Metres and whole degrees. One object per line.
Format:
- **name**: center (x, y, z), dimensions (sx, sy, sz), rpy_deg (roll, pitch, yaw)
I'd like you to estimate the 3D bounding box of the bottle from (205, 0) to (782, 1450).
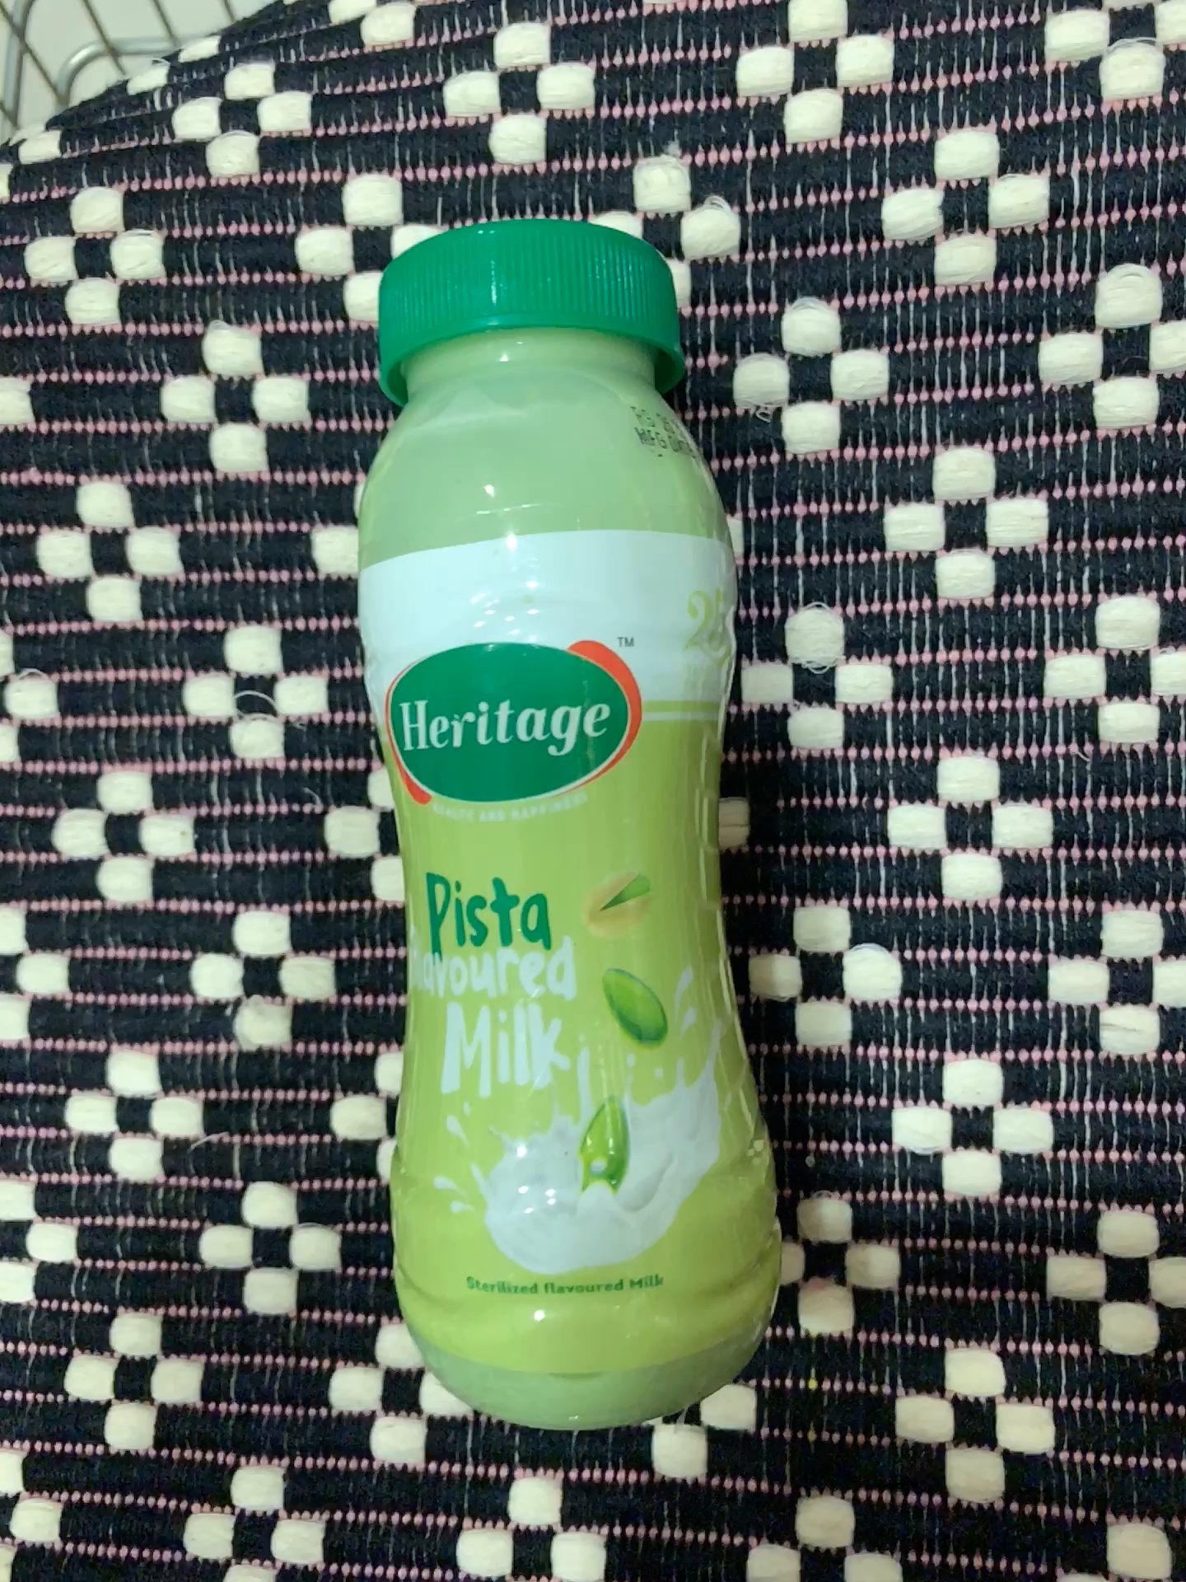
- **bottle**: center (-0.008, -0.009, 0.152), dimensions (0.050, 0.050, 0.150), rpy_deg (-4, 88, 7)
